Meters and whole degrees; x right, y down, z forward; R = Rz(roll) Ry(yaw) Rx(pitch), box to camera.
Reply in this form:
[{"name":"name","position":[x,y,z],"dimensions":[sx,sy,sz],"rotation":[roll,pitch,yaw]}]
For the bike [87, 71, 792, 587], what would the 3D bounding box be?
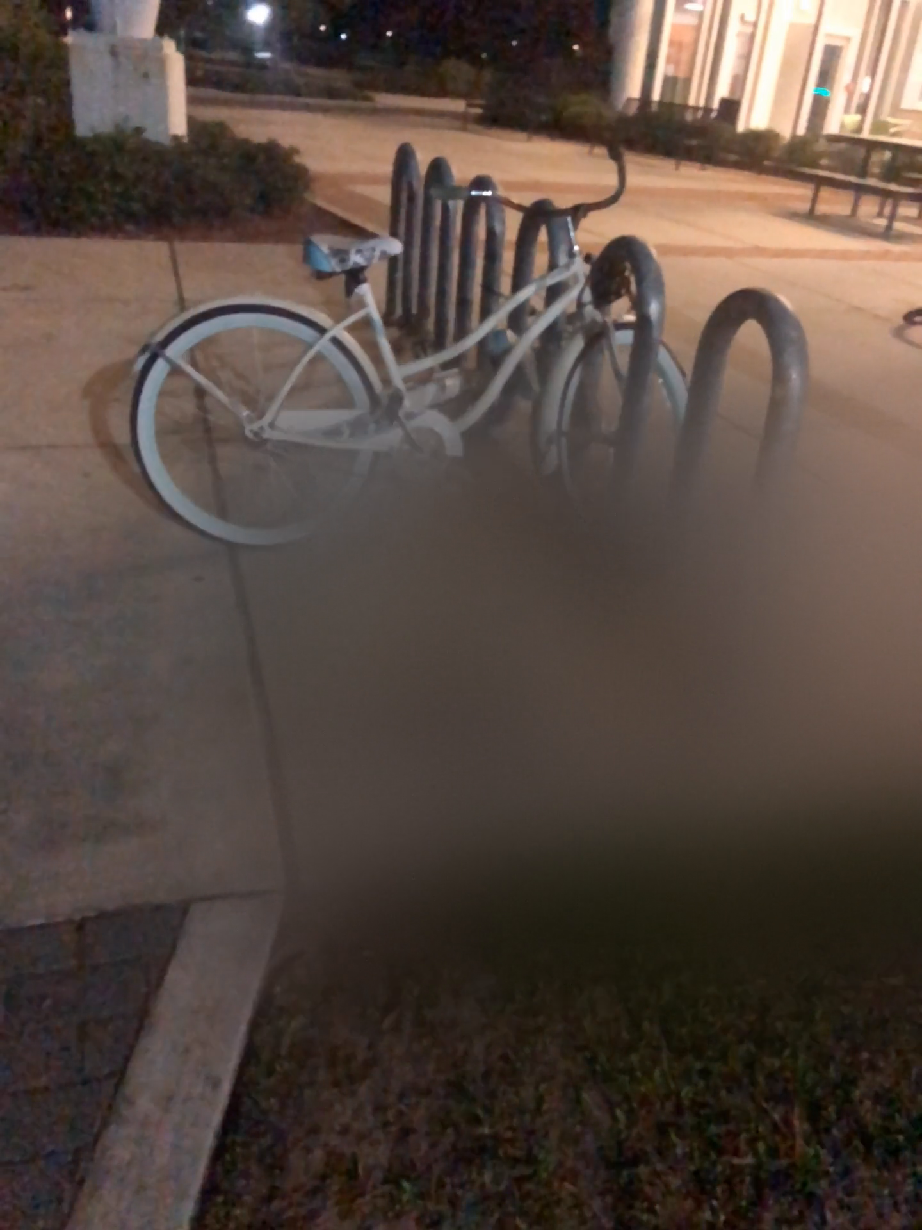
[{"name":"bike","position":[-0.052,-0.890,2.873],"dimensions":[1.679,1.094,0.744],"rotation":[-8,30,-16]}]
